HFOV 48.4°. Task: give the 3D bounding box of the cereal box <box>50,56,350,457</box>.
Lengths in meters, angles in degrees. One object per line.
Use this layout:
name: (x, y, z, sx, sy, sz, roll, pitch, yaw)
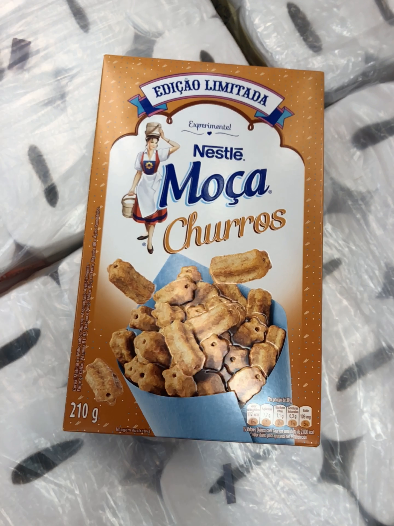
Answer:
cereal box: (0.009, -0.009, 0.295, 0.170, 0.050, 0.240, 4, 79, -2)
